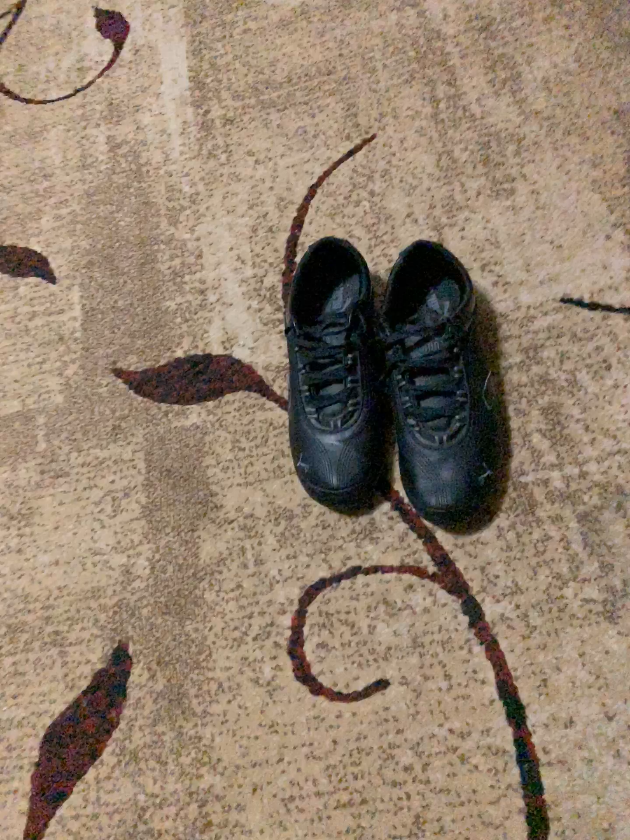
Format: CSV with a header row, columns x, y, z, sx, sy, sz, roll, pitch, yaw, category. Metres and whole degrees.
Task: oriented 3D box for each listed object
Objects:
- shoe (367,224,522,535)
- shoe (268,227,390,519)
x,y,z,sx,sy,sz,roll,pitch,yaw,category
0.104,-0.036,0.543,0.088,0.073,0.244,-8,66,11,shoe
0.016,-0.043,0.570,0.085,0.073,0.244,-4,66,13,shoe
